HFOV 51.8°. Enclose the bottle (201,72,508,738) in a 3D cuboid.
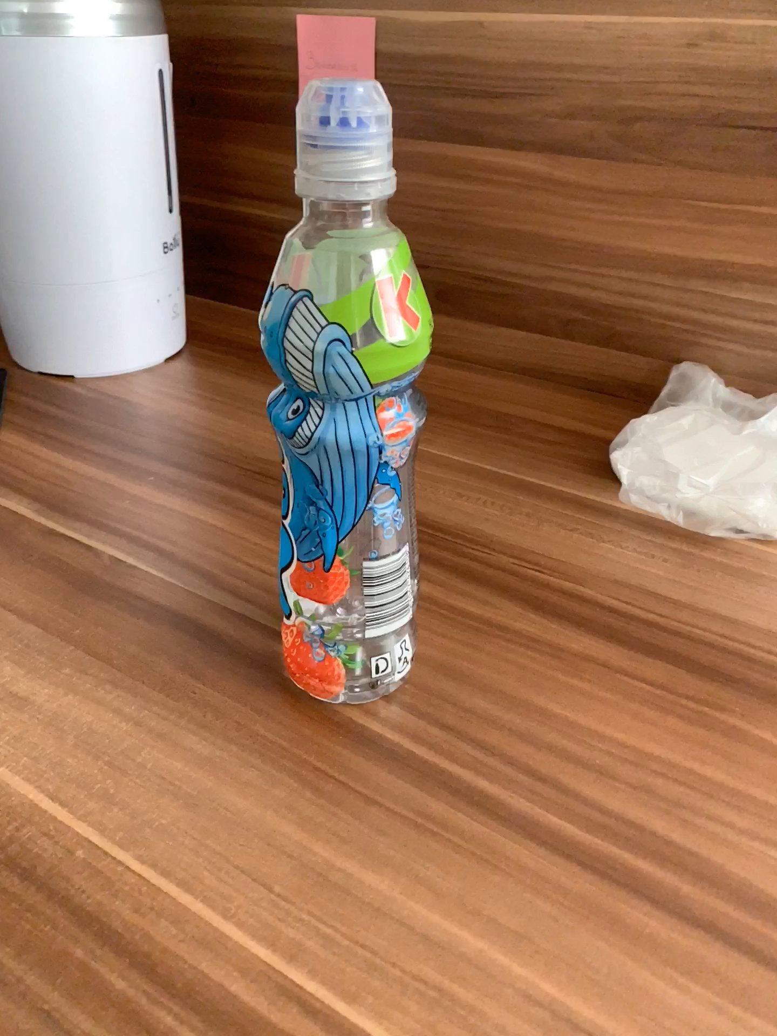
[{"bbox_3d":[-0.015,-0.035,0.313,0.070,0.239,0.070,1,32,-1],"label":"bottle"}]
